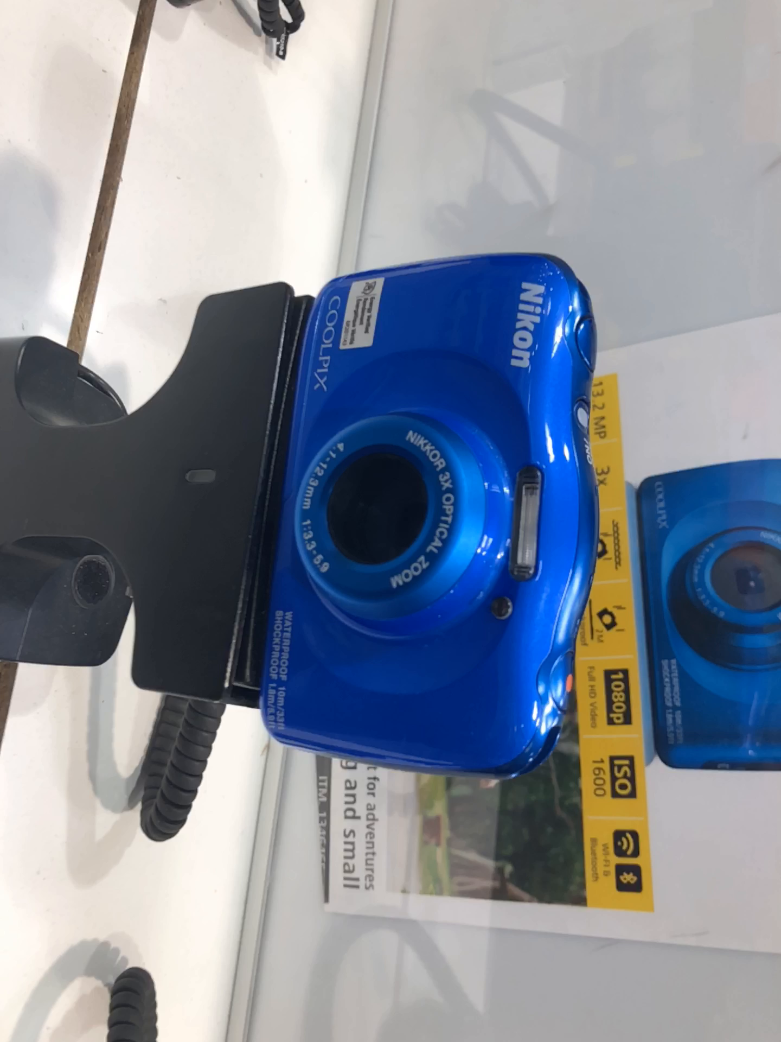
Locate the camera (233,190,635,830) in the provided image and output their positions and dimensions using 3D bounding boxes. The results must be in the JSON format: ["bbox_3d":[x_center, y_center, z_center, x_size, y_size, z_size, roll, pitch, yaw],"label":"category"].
[{"bbox_3d":[0.015,-0.001,0.210,0.050,0.070,0.130,27,66,-59],"label":"camera"}]
